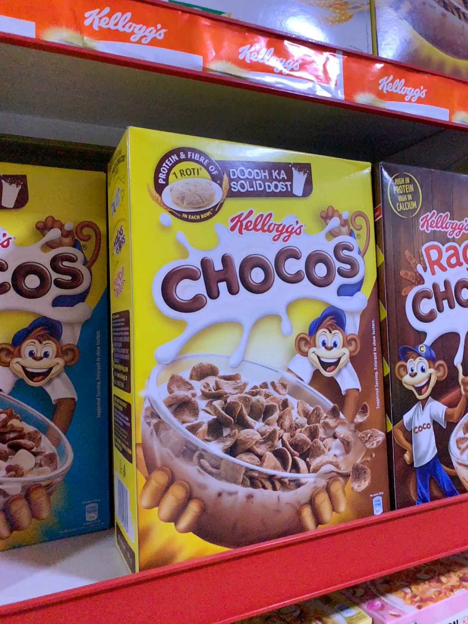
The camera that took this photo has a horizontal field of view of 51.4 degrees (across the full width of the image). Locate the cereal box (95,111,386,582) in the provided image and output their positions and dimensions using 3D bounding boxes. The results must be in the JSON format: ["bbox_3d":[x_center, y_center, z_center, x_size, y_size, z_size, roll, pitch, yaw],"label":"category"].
[{"bbox_3d":[0.005,0.015,0.312,0.170,0.240,0.060,-1,-3,-25],"label":"cereal box"}]
